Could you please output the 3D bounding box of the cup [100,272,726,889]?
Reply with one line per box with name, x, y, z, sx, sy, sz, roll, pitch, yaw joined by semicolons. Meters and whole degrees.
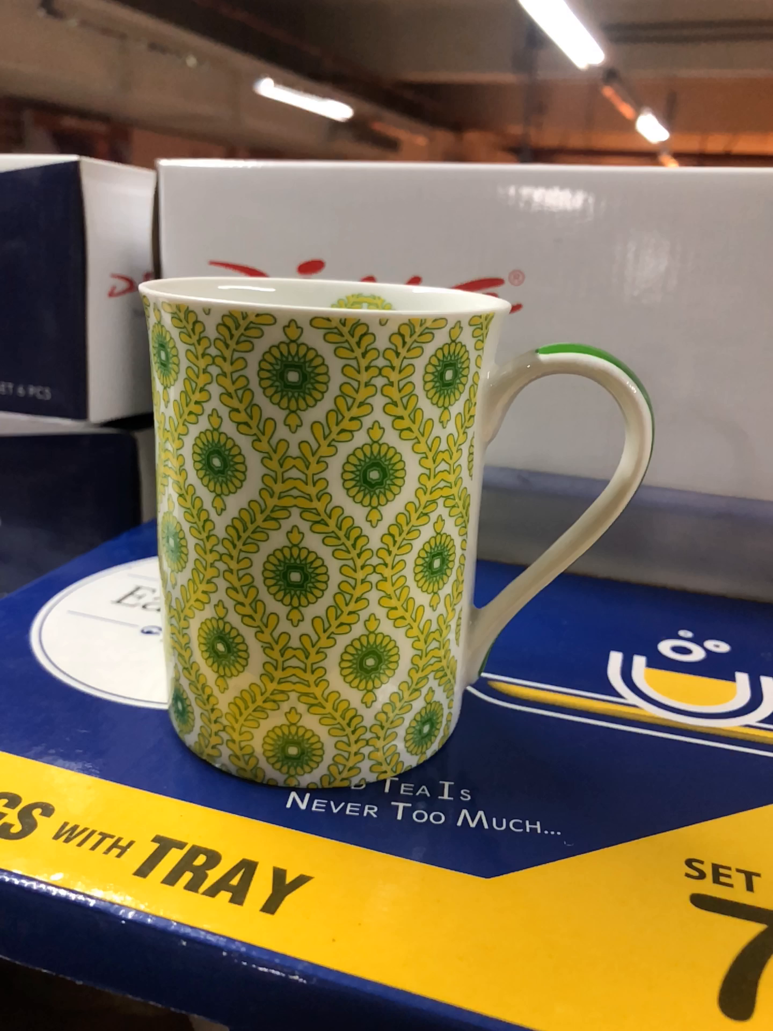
cup;0.008;0.001;0.177;0.100;0.090;0.070;9;19;19
